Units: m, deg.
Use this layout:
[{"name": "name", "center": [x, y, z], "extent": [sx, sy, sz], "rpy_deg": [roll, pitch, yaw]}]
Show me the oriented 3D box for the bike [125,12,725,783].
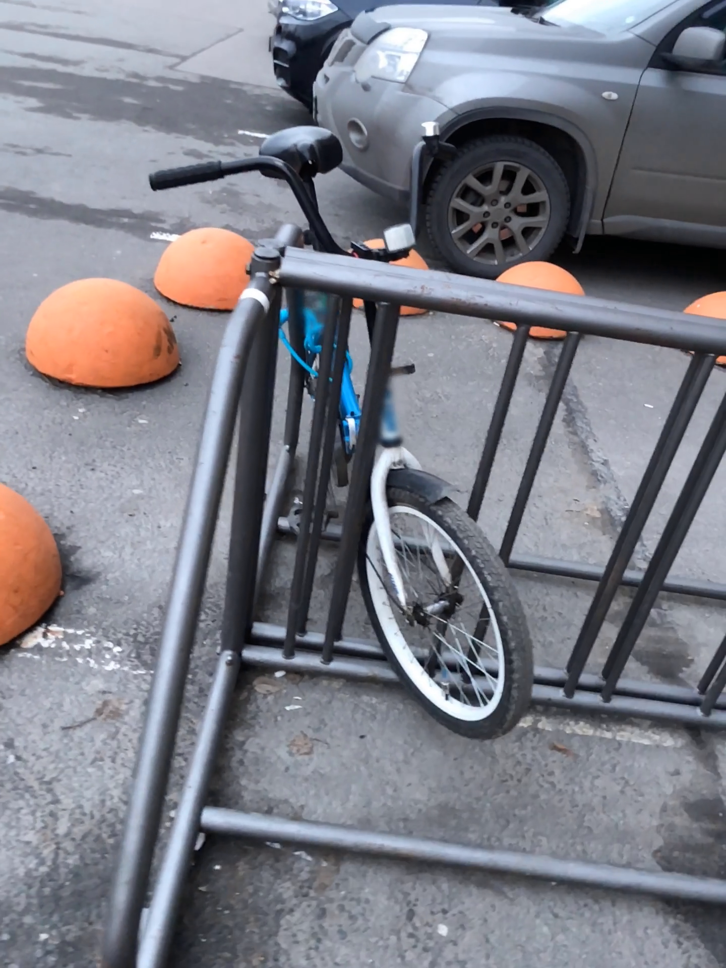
[{"name": "bike", "center": [-0.101, -0.292, 1.638], "extent": [0.723, 0.992, 1.426], "rpy_deg": [-2, 29, -17]}]
